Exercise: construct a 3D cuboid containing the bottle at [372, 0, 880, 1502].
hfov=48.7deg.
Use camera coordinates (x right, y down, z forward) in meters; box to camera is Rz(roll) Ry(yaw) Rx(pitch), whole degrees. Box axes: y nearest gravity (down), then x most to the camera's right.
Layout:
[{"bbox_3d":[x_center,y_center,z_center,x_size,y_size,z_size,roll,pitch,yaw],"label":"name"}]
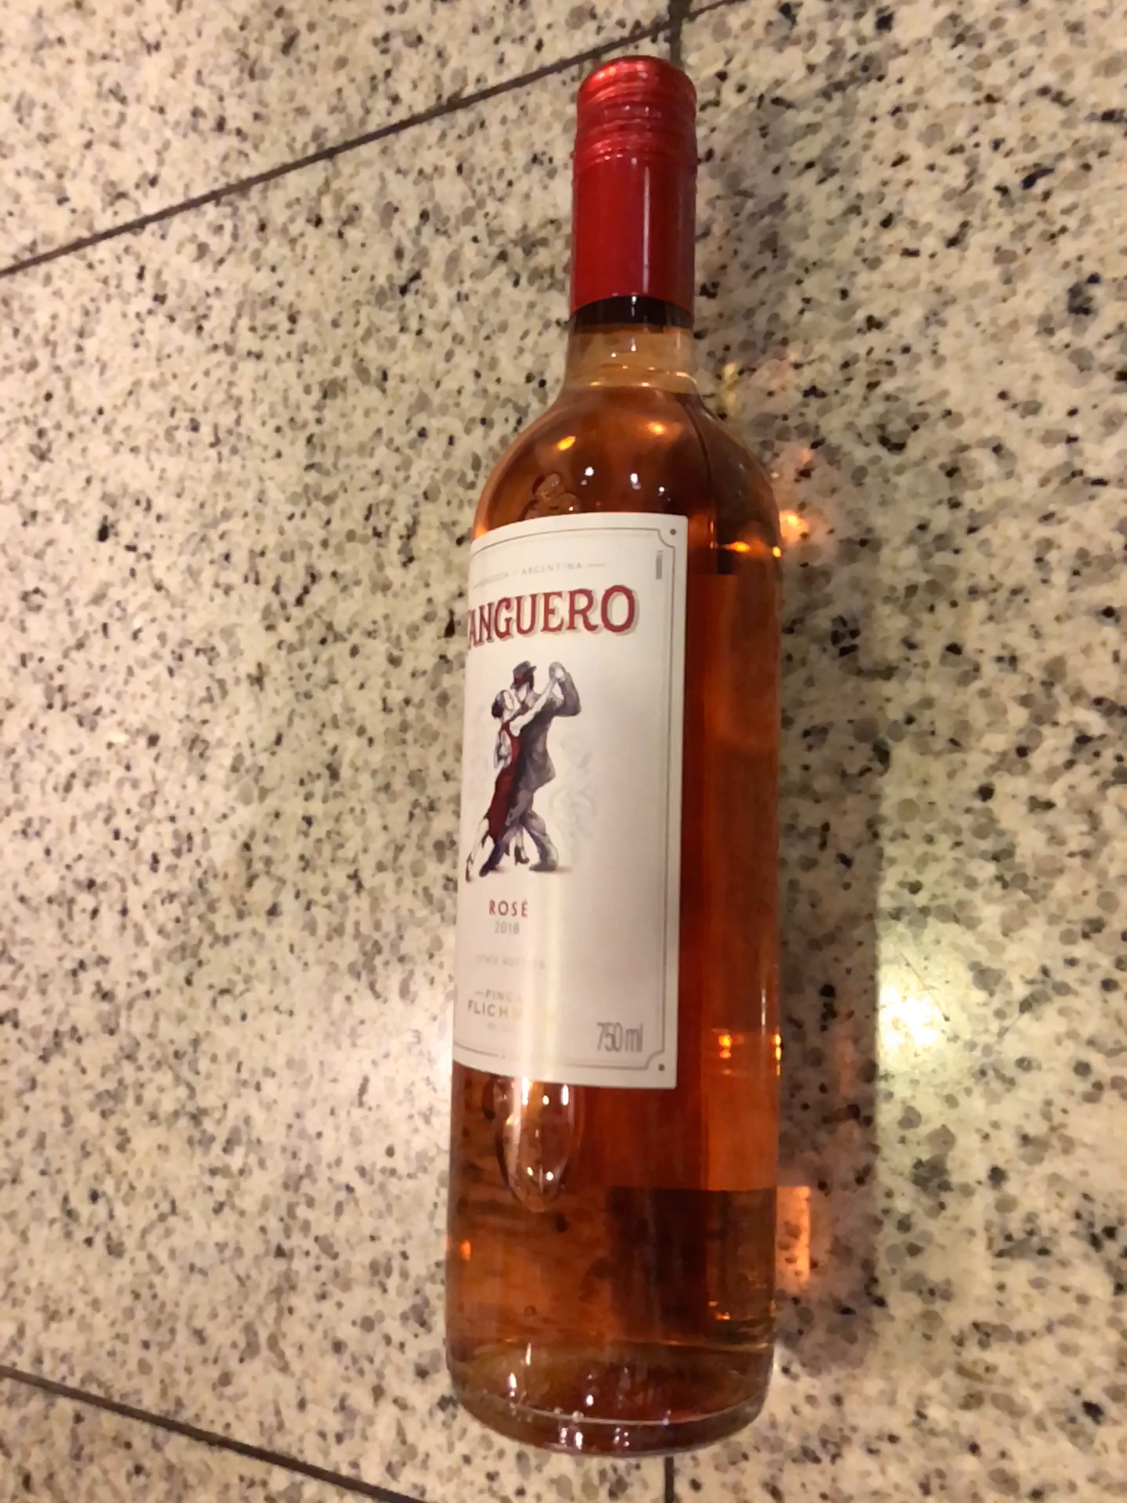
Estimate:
[{"bbox_3d":[0.017,-0.023,0.282,0.090,0.060,0.320,-3,83,31],"label":"bottle"}]
